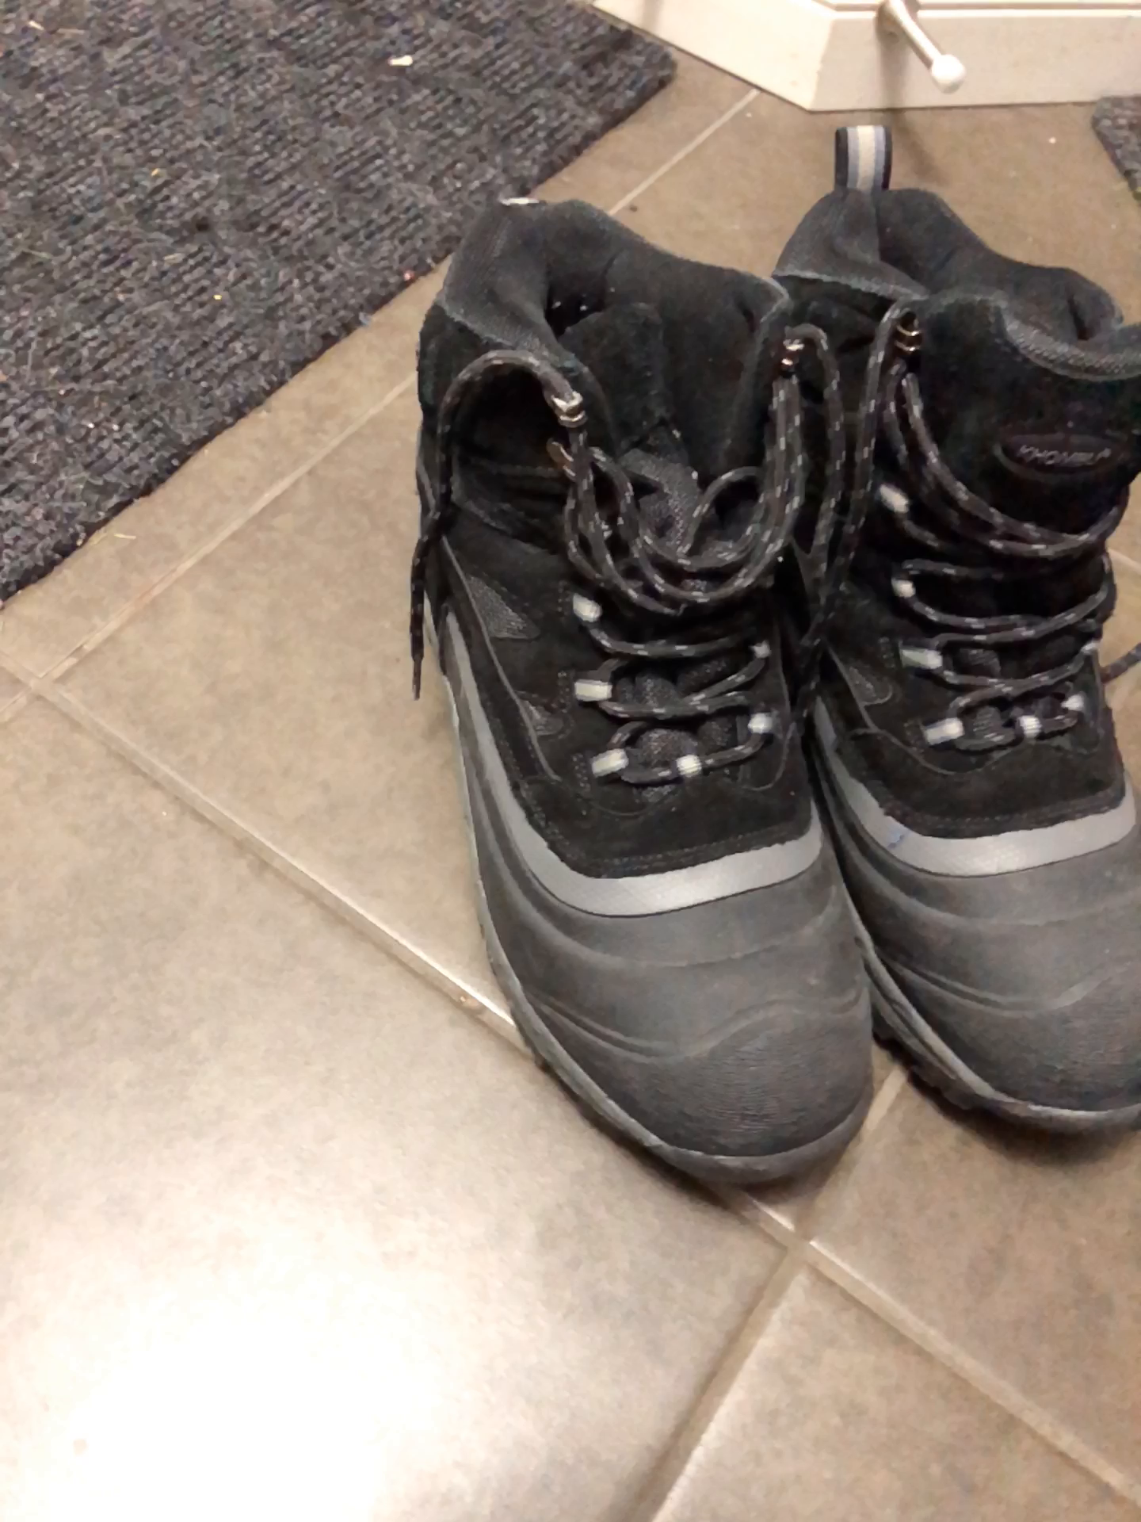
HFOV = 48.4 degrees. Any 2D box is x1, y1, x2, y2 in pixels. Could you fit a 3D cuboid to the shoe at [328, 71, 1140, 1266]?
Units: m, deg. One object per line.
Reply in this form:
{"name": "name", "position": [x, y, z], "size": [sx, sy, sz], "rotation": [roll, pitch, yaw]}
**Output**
{"name": "shoe", "position": [0.017, -0.028, 0.391], "size": [0.120, 0.200, 0.290], "rotation": [-10, 60, -12]}

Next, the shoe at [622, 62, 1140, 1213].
{"name": "shoe", "position": [0.128, -0.039, 0.406], "size": [0.120, 0.200, 0.290], "rotation": [-11, 60, -12]}
